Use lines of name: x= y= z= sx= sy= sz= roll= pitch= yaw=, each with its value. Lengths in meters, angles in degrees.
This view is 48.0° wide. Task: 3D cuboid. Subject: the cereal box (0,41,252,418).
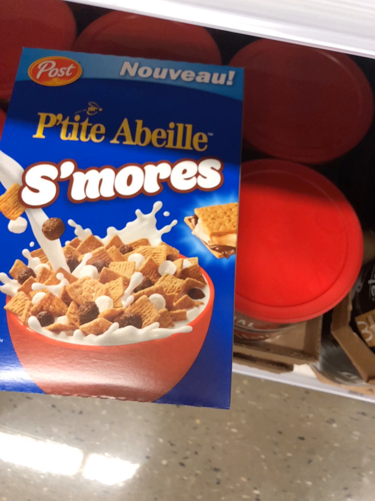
cereal box: x=-0.056 y=-0.027 z=0.350 sx=0.200 sy=0.060 sz=0.290 roll=5 pitch=72 yaw=0
